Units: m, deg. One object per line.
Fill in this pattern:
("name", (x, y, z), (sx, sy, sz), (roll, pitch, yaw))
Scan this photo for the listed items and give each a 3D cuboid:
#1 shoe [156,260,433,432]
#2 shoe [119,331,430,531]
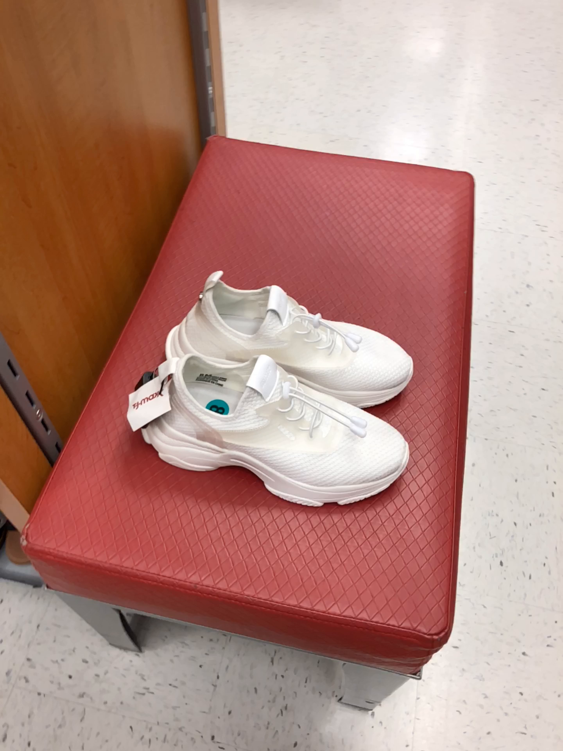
("shoe", (0.017, -0.033, 0.699), (0.277, 0.110, 0.110), (9, 55, 6))
("shoe", (-0.003, 0.056, 0.634), (0.278, 0.110, 0.112), (11, 55, 7))
